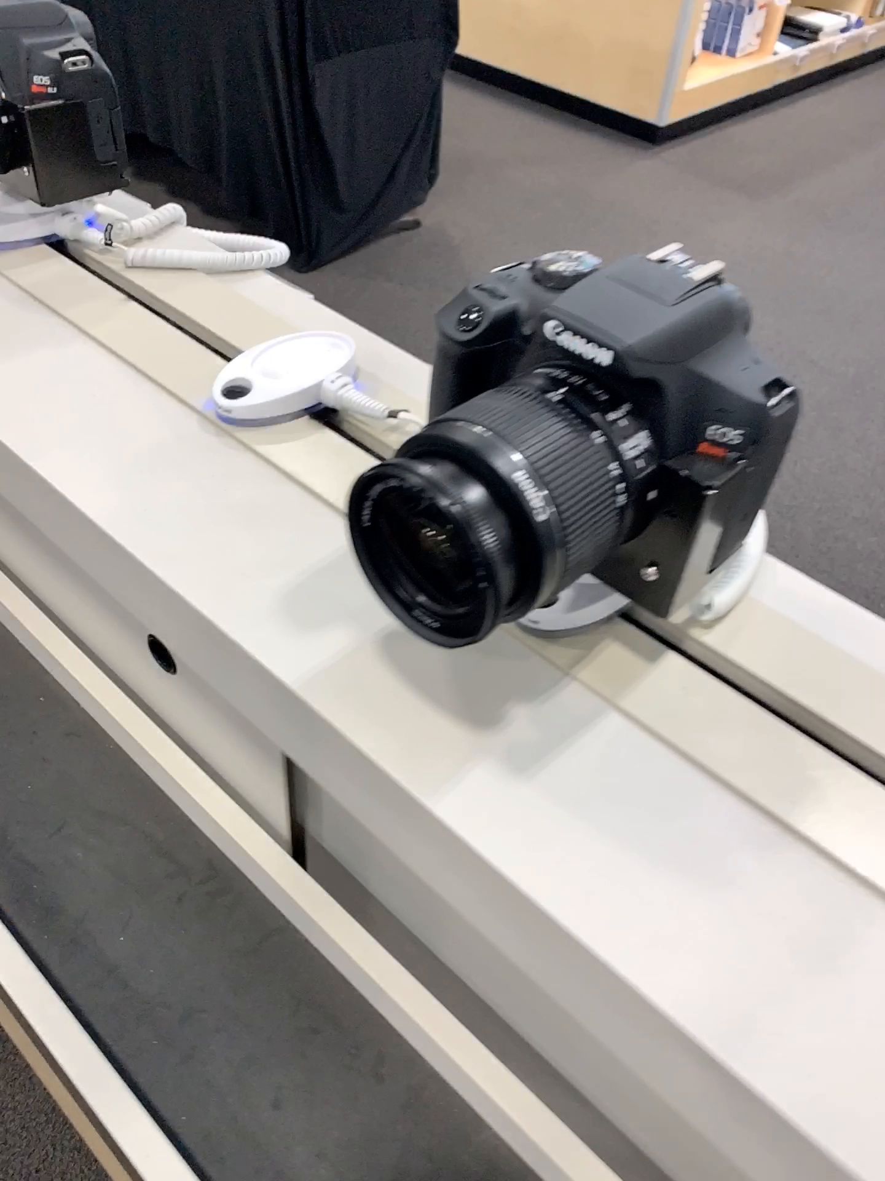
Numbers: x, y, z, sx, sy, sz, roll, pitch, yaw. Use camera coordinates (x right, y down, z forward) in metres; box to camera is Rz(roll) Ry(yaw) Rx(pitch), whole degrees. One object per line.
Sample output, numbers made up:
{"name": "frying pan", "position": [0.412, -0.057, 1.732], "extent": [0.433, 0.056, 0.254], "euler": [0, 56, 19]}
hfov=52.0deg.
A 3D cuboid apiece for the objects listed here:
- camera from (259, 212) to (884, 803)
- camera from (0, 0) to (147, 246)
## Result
{"name": "camera", "position": [0.040, -0.040, 0.316], "extent": [0.134, 0.101, 0.146], "euler": [36, 52, 26]}
{"name": "camera", "position": [-0.274, -0.285, 0.531], "extent": [0.122, 0.089, 0.135], "euler": [32, 50, 23]}
